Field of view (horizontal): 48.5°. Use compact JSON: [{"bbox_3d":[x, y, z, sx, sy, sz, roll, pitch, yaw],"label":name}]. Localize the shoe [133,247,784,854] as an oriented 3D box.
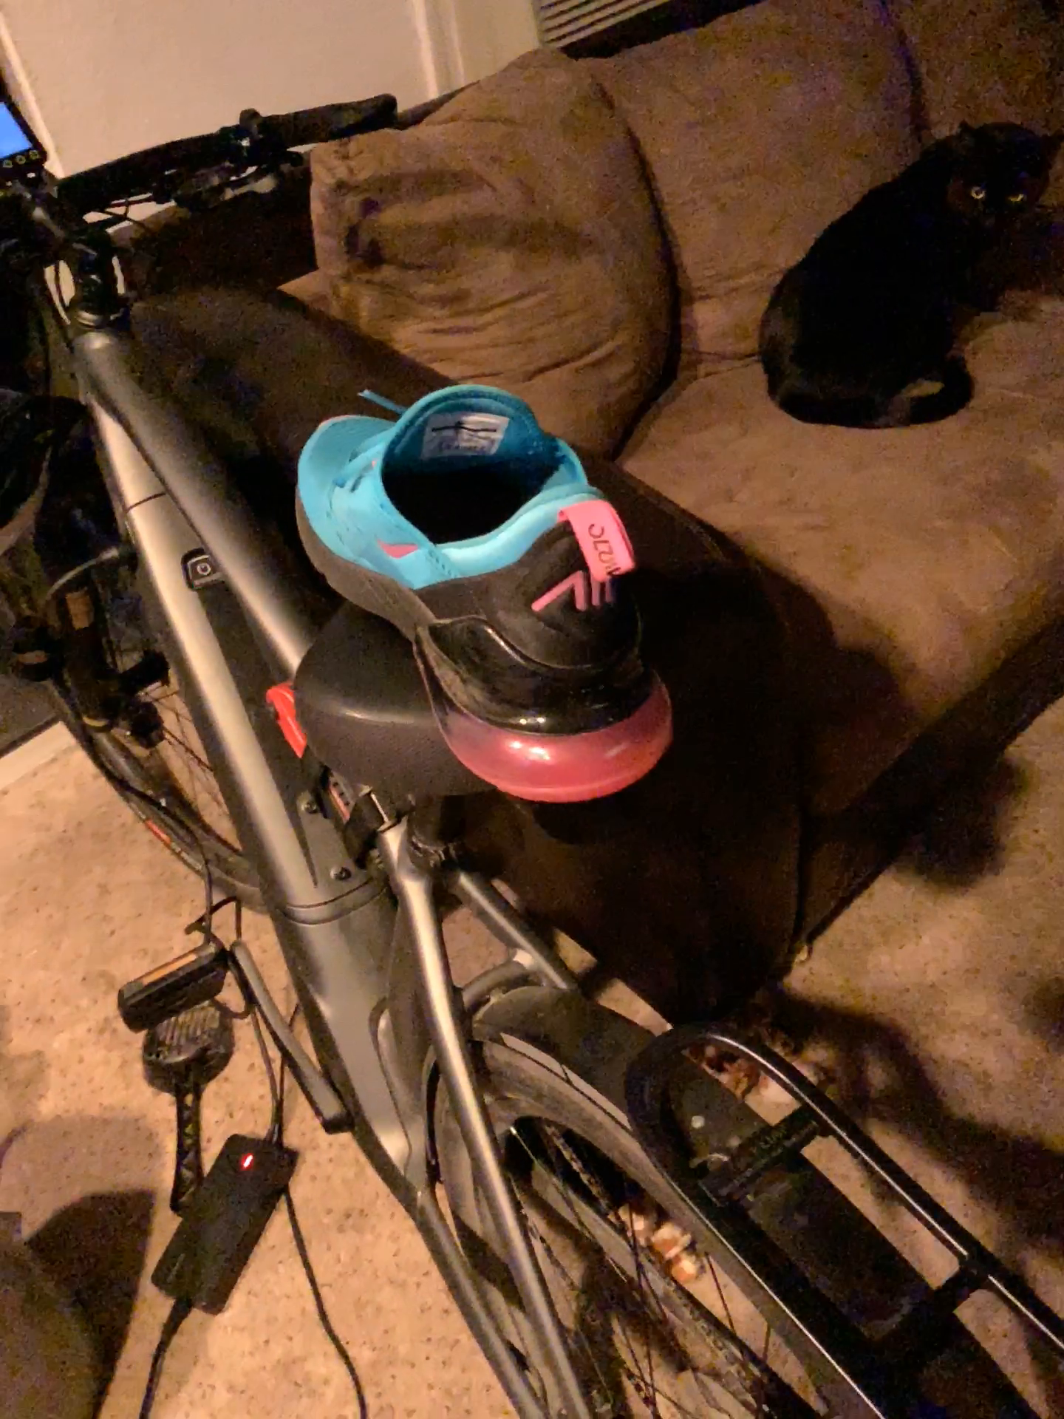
[{"bbox_3d":[-0.048,-0.103,0.592,0.150,0.130,0.330,-31,46,-21],"label":"shoe"}]
